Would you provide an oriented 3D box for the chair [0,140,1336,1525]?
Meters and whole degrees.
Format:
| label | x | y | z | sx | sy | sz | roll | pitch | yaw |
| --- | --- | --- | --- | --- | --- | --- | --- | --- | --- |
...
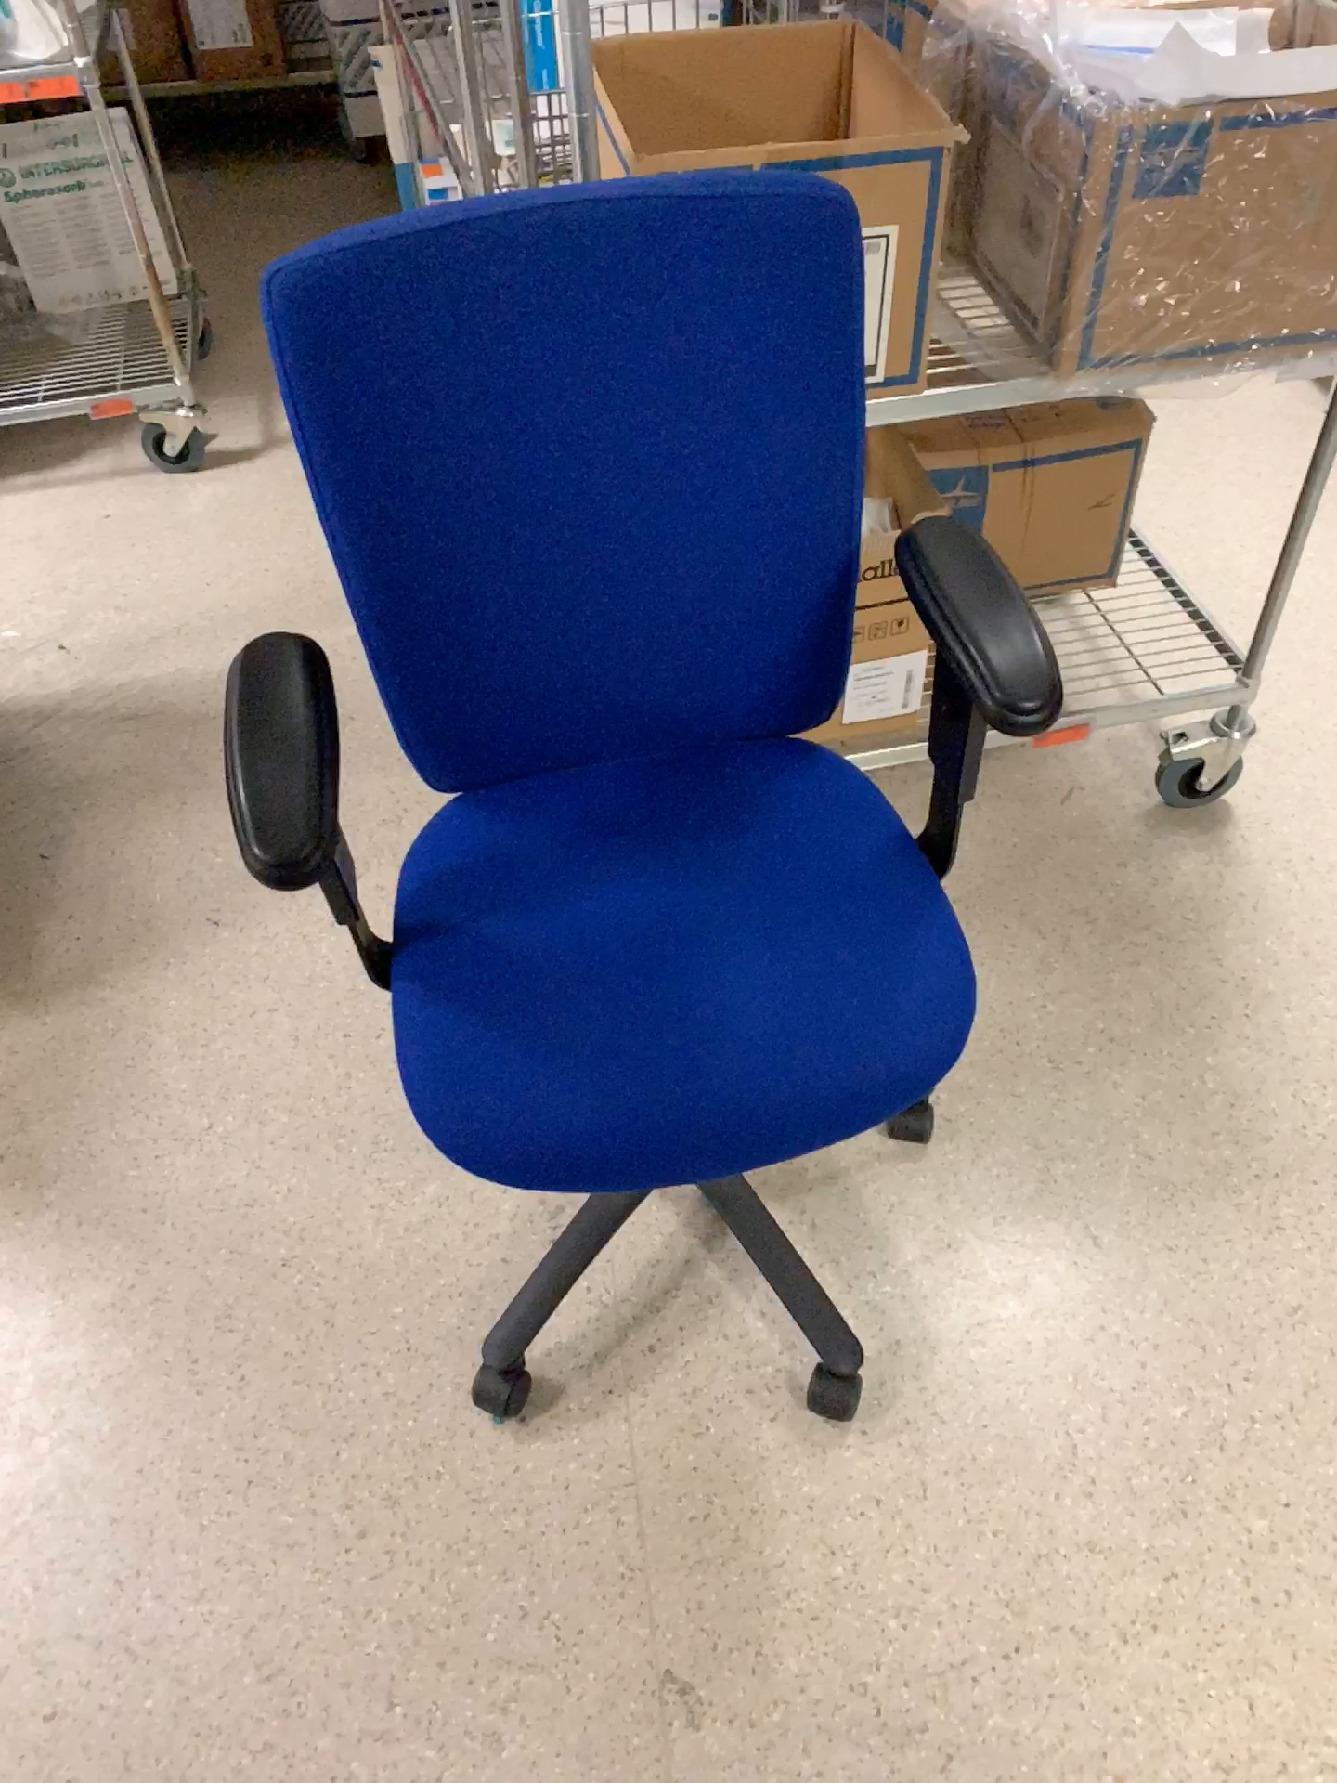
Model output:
| label | x | y | z | sx | sy | sz | roll | pitch | yaw |
| --- | --- | --- | --- | --- | --- | --- | --- | --- | --- |
| chair | -0.021 | -0.012 | 1.213 | 0.678 | 0.949 | 0.672 | -8 | 46 | -5 |
